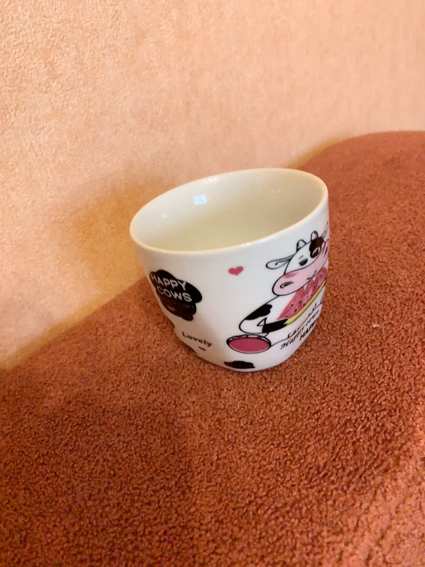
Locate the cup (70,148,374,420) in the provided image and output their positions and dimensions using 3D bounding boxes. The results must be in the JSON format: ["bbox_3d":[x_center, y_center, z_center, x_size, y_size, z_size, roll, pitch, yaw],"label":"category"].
[{"bbox_3d":[0.008,-0.011,0.191,0.095,0.056,0.079,-36,39,-30],"label":"cup"}]
